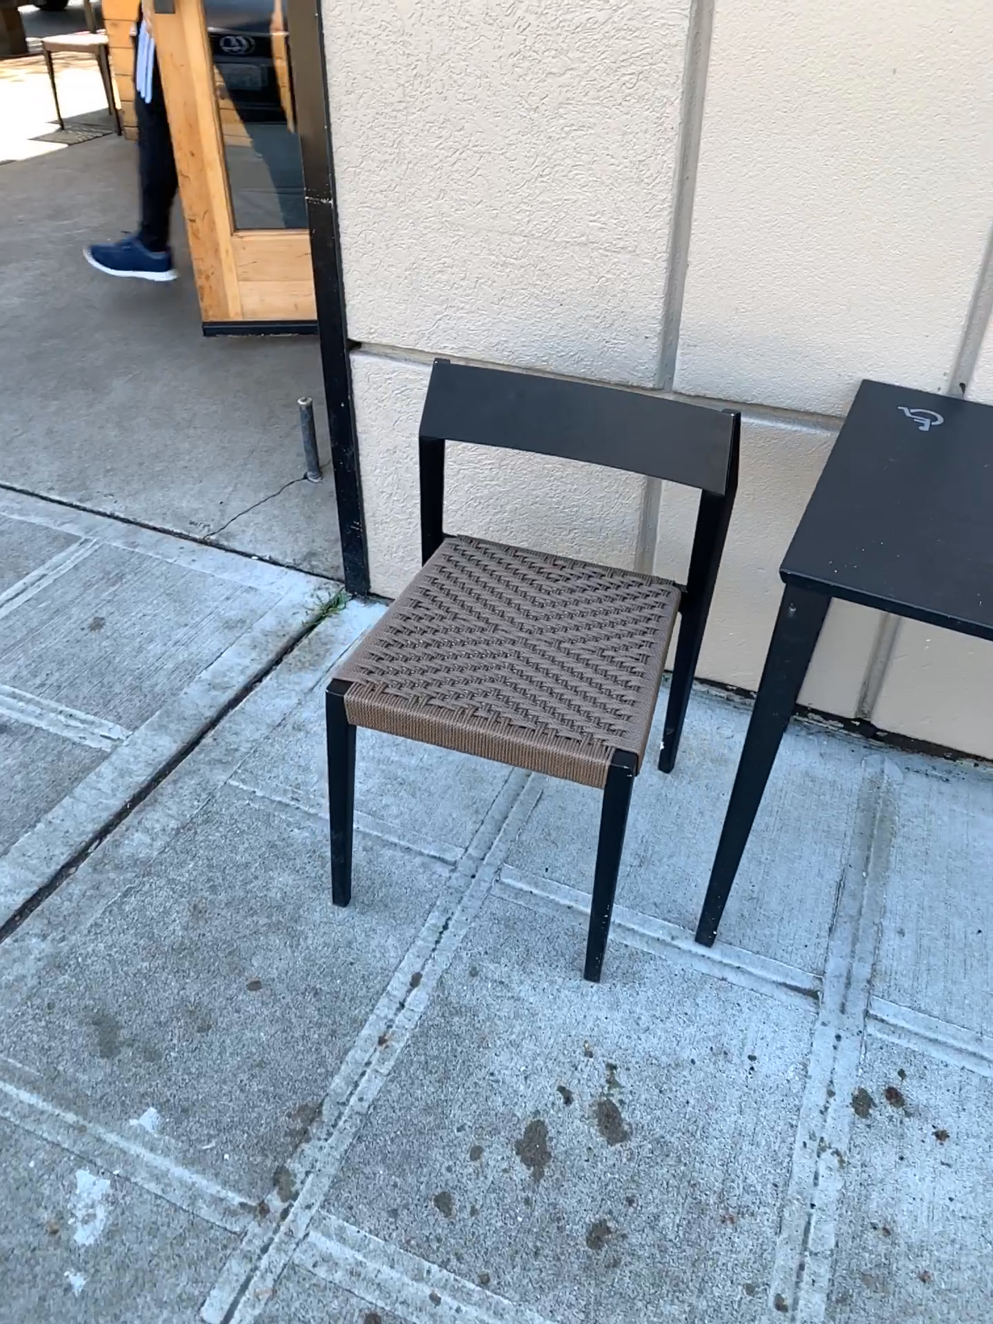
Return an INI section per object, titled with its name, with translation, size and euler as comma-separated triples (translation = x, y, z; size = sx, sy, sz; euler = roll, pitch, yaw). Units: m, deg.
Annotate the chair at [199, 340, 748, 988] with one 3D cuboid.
[chair]
translation = 0.006, -0.022, 1.495
size = 0.551, 0.666, 0.552
euler = 12, 38, 14
